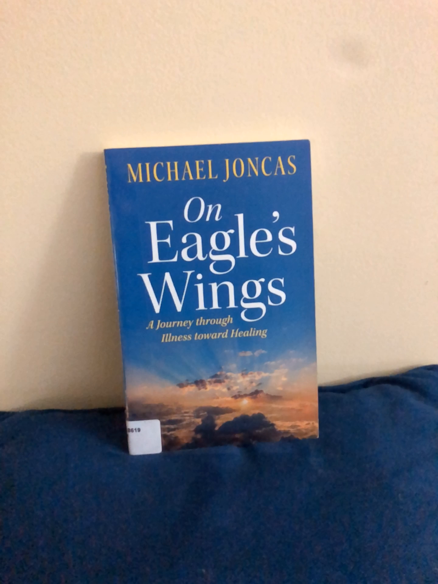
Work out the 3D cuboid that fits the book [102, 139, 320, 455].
[{"bbox_3d":[-0.002,0.005,0.342,0.139,0.210,0.014,-3,7,-5],"label":"book"}]
